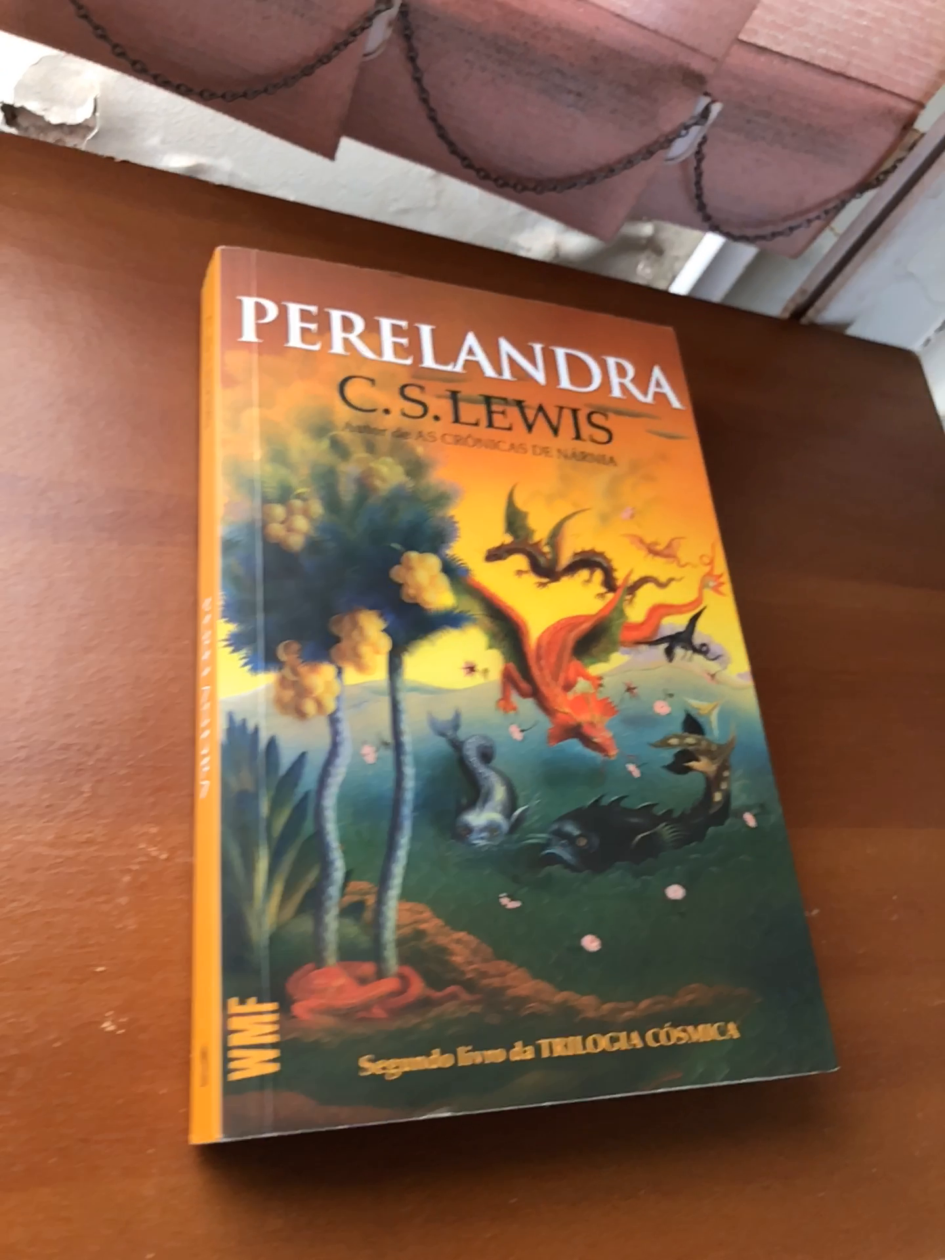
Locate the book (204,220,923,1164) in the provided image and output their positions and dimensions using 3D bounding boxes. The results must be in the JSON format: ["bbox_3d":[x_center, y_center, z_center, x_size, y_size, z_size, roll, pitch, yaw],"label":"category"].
[{"bbox_3d":[0.010,0.003,0.233,0.130,0.030,0.191,3,62,-21],"label":"book"}]
